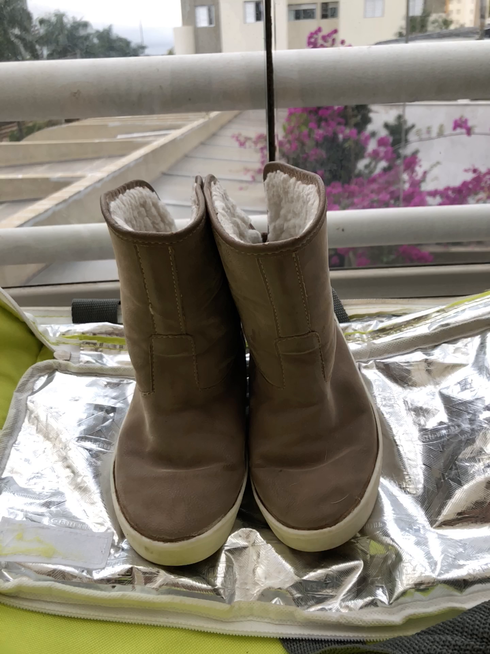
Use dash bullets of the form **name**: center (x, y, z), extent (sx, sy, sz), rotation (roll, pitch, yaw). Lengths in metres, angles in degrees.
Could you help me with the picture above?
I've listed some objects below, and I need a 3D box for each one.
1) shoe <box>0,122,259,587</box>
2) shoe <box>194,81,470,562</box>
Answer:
- **shoe**: center (-0.047, 0.017, 0.305), extent (0.089, 0.169, 0.192), rotation (-5, 49, 4)
- **shoe**: center (0.030, -0.004, 0.305), extent (0.089, 0.169, 0.202), rotation (-6, 49, 2)
